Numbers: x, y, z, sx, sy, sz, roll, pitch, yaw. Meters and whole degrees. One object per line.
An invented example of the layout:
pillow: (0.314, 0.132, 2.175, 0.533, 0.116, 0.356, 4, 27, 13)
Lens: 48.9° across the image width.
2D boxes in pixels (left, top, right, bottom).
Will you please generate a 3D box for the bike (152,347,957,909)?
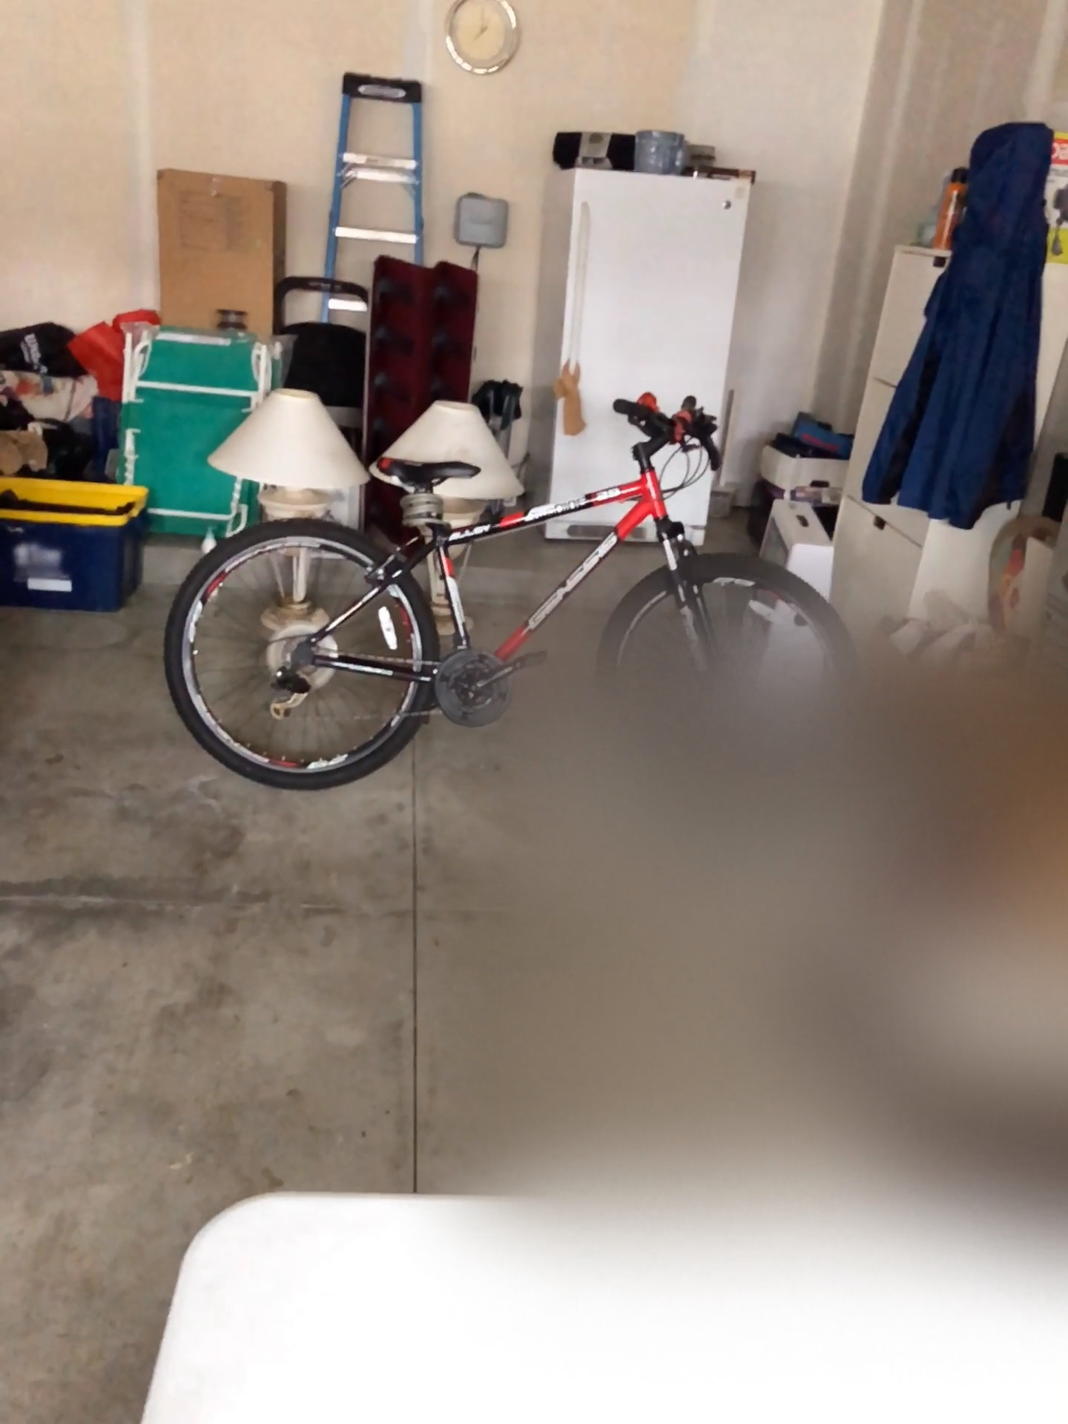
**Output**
bike: (-0.055, -0.234, 2.887, 1.668, 1.054, 0.592, 6, 22, 1)
